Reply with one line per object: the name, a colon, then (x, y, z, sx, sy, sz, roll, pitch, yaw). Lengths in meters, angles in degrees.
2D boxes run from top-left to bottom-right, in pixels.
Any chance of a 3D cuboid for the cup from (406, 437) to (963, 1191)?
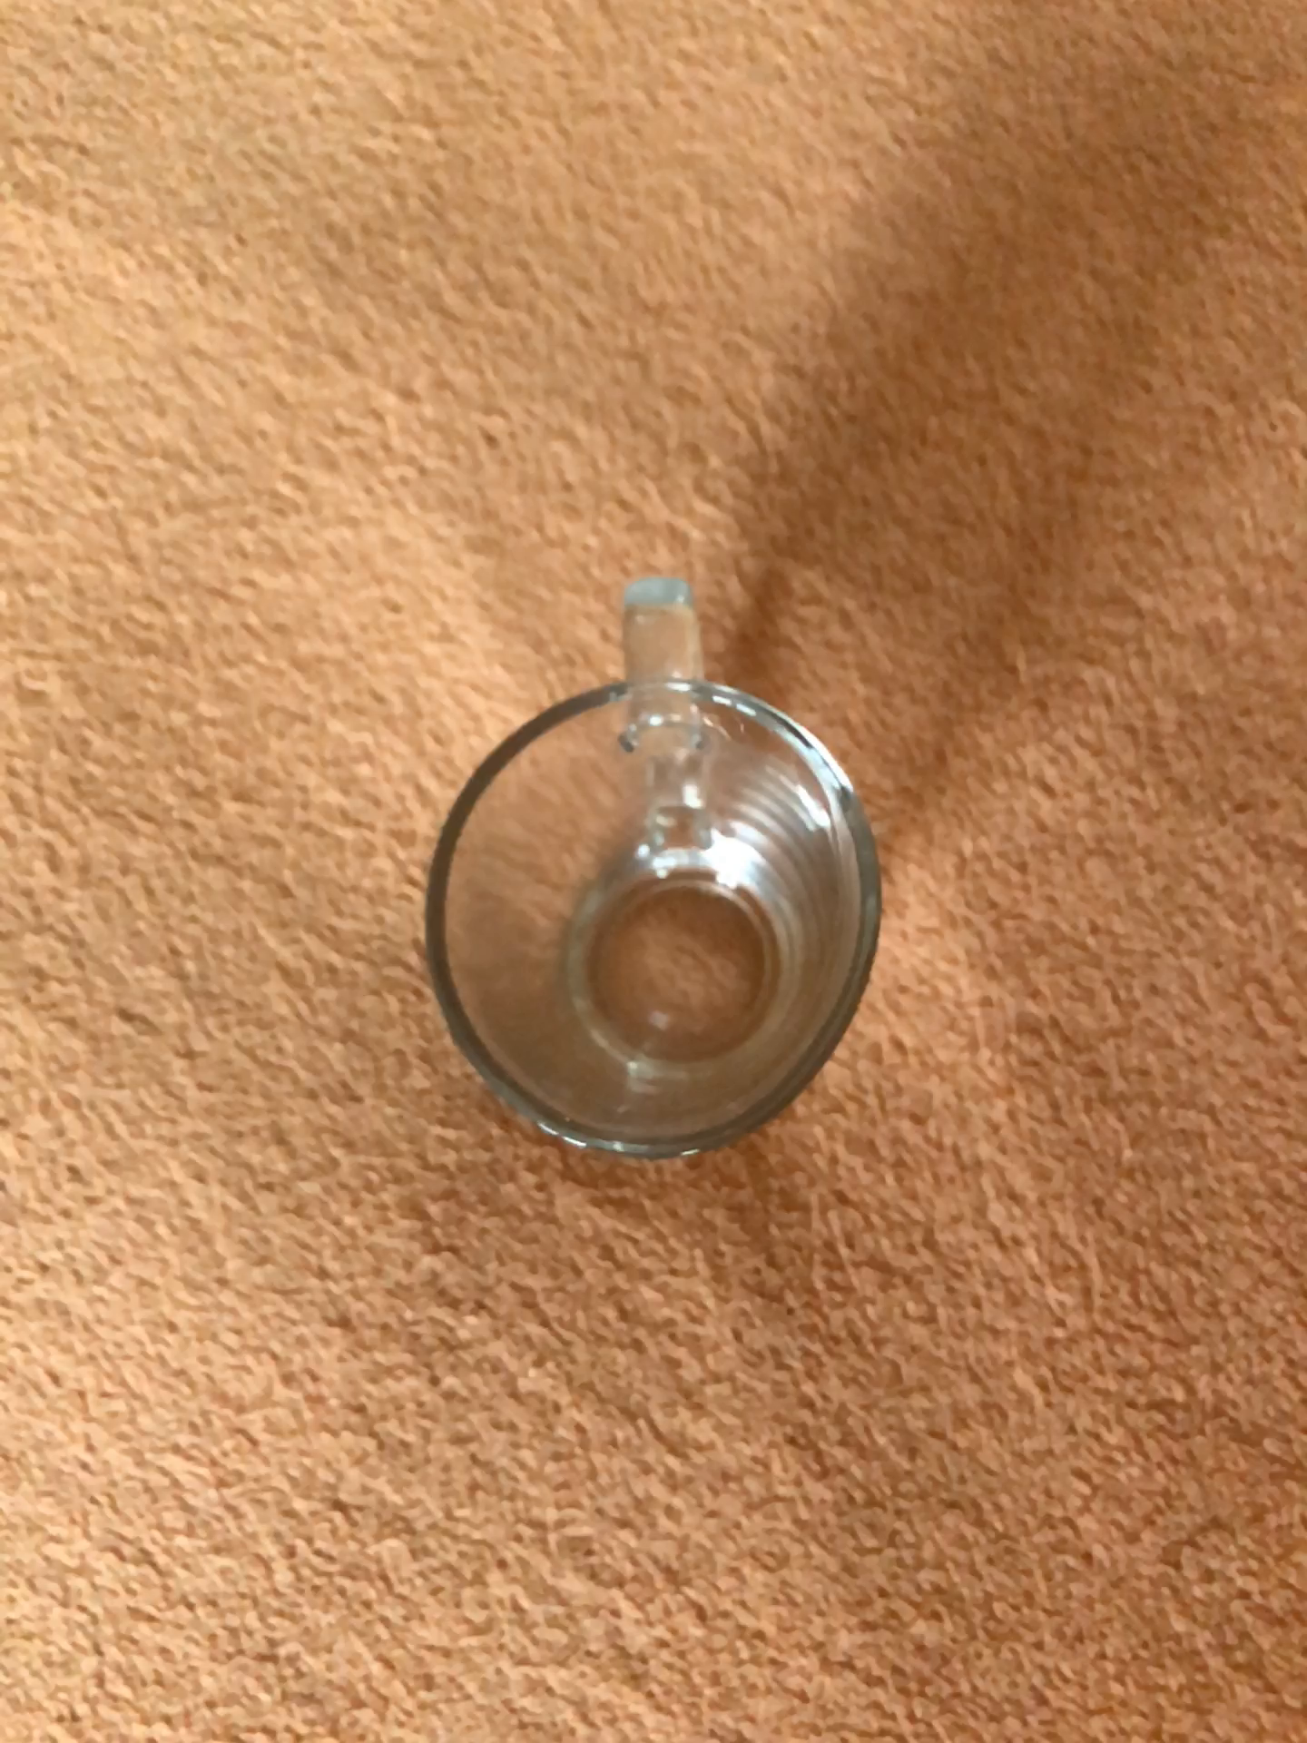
cup: (0.006, -0.002, 0.246, 0.070, 0.090, 0.100, -4, 81, 4)
